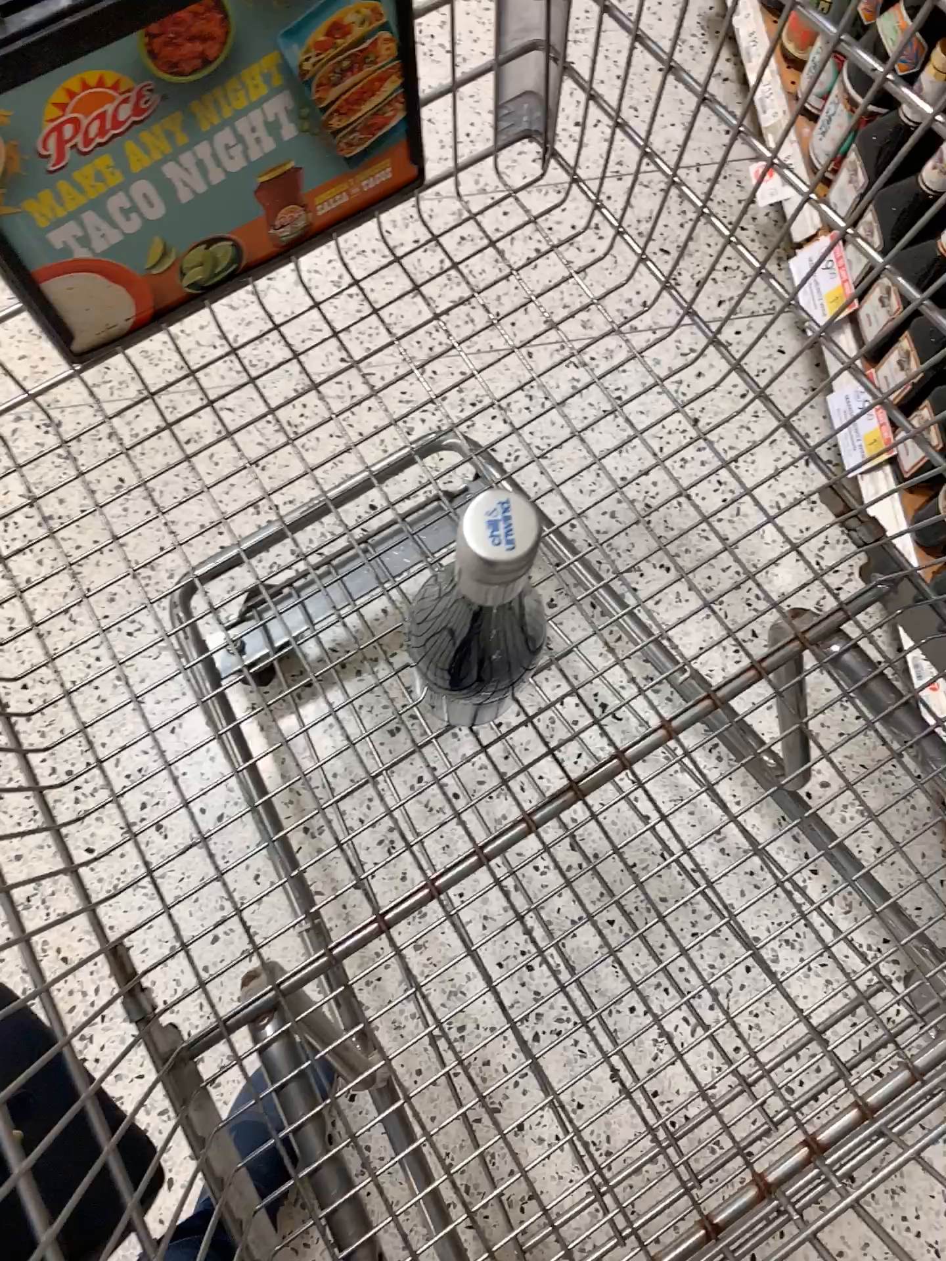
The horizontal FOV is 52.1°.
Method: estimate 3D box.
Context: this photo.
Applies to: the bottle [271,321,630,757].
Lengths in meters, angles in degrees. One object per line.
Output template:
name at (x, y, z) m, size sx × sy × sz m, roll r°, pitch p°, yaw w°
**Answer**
bottle at (-0.010, -0.016, 0.485) m, size 0.090 × 0.309 × 0.090 m, roll 0°, pitch 76°, yaw -1°
